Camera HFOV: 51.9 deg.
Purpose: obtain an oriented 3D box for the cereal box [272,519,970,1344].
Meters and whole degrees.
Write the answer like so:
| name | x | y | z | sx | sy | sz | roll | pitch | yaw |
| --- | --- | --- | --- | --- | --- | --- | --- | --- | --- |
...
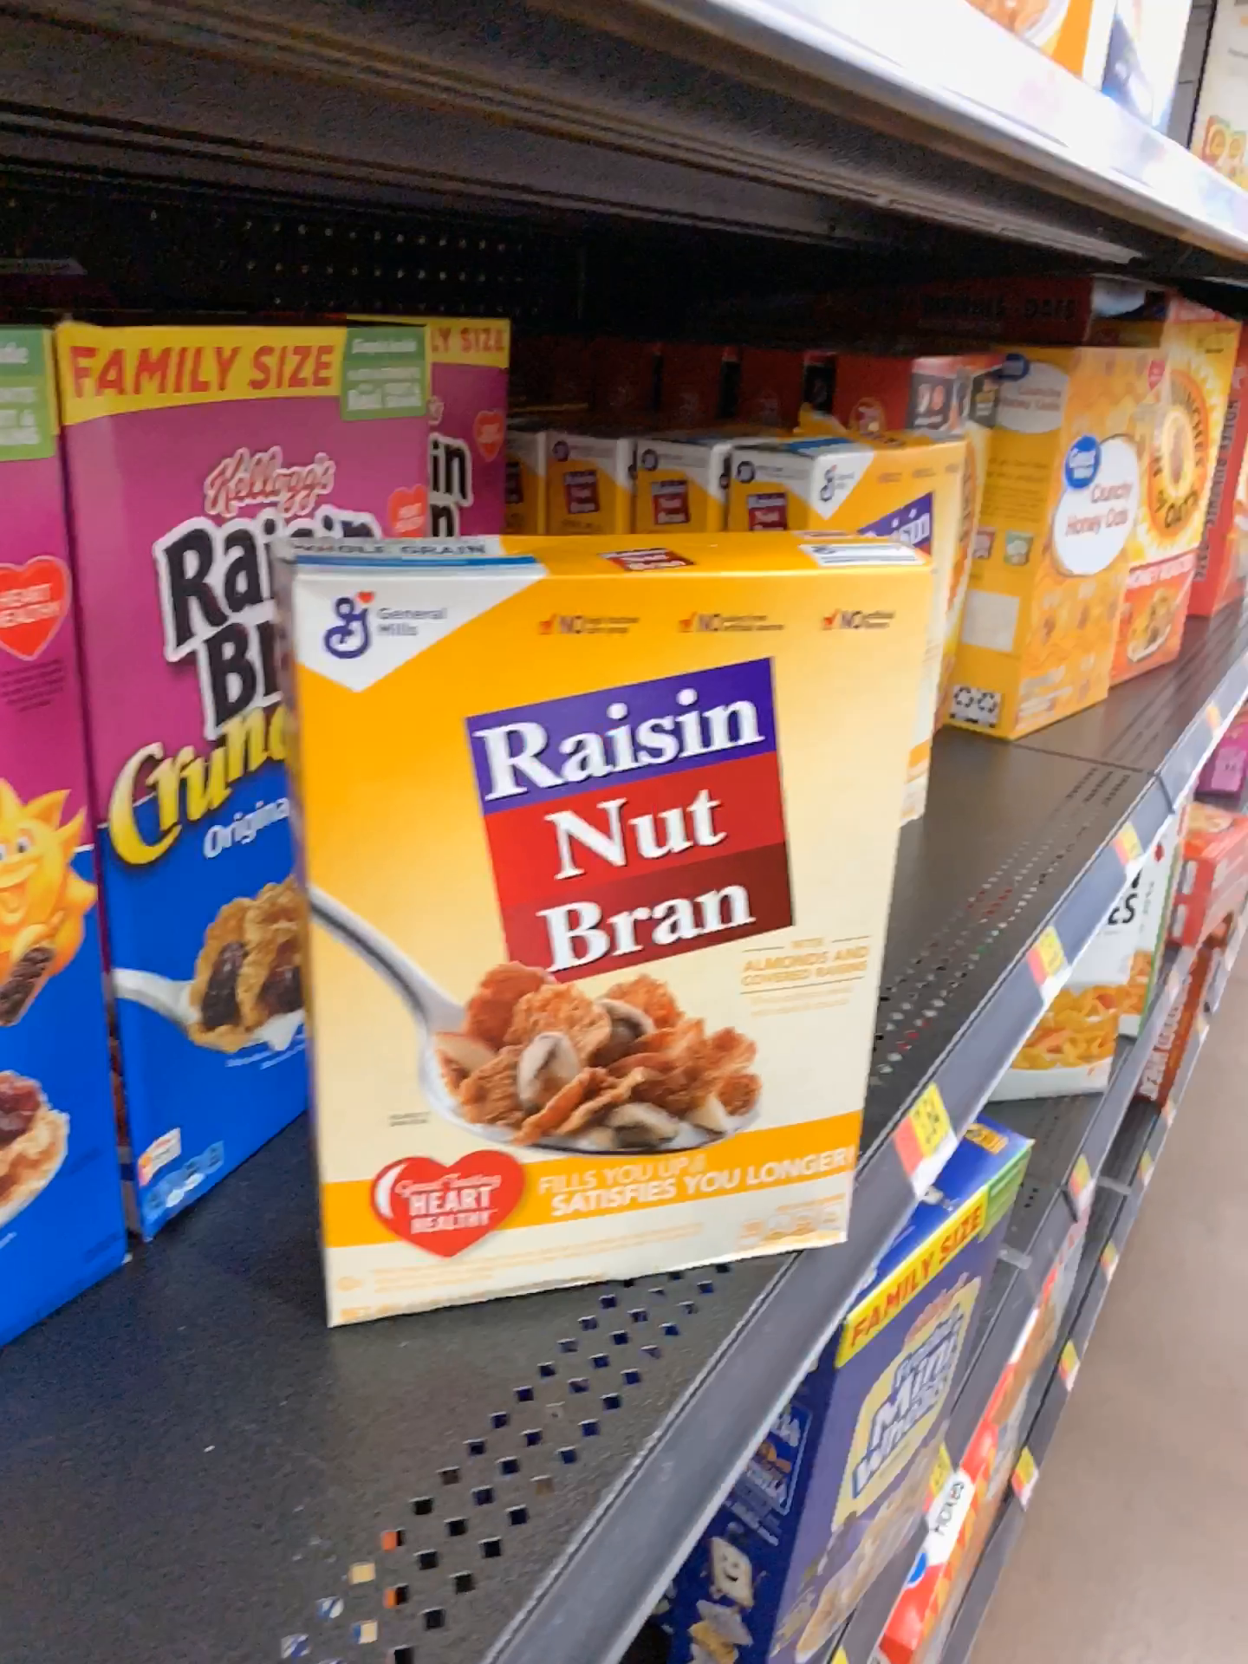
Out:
| name | x | y | z | sx | sy | sz | roll | pitch | yaw |
| --- | --- | --- | --- | --- | --- | --- | --- | --- | --- |
| cereal box | -0.007 | 0.032 | 0.431 | 0.200 | 0.259 | 0.060 | -3 | 23 | -16 |
